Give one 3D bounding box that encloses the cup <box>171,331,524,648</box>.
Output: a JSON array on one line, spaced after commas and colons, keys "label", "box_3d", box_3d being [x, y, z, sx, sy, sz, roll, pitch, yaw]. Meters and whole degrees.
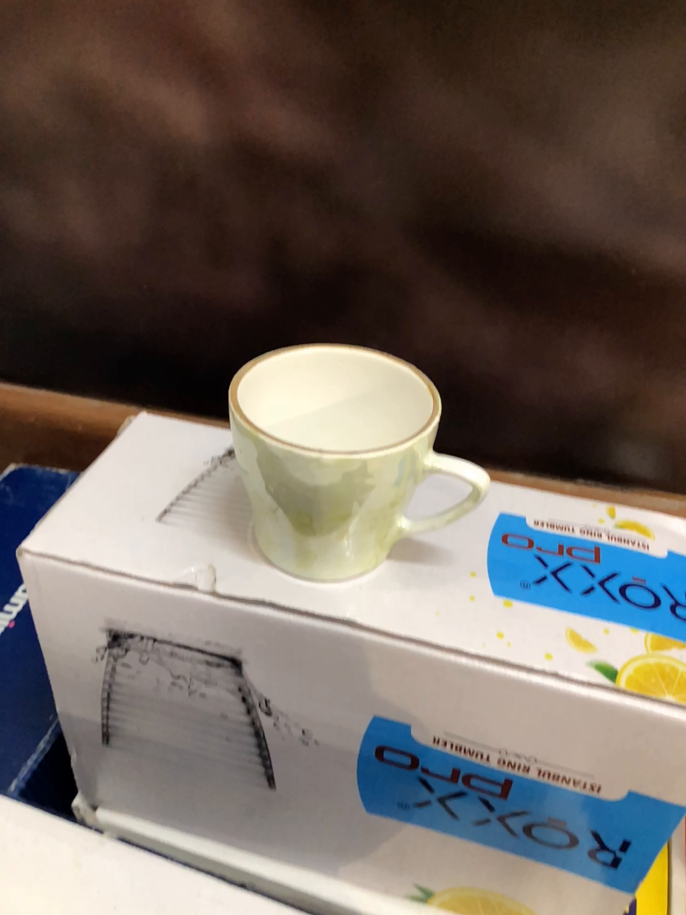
[{"label": "cup", "box_3d": [0.005, 0.008, 0.259, 0.100, 0.060, 0.070, 10, 37, 7]}]
